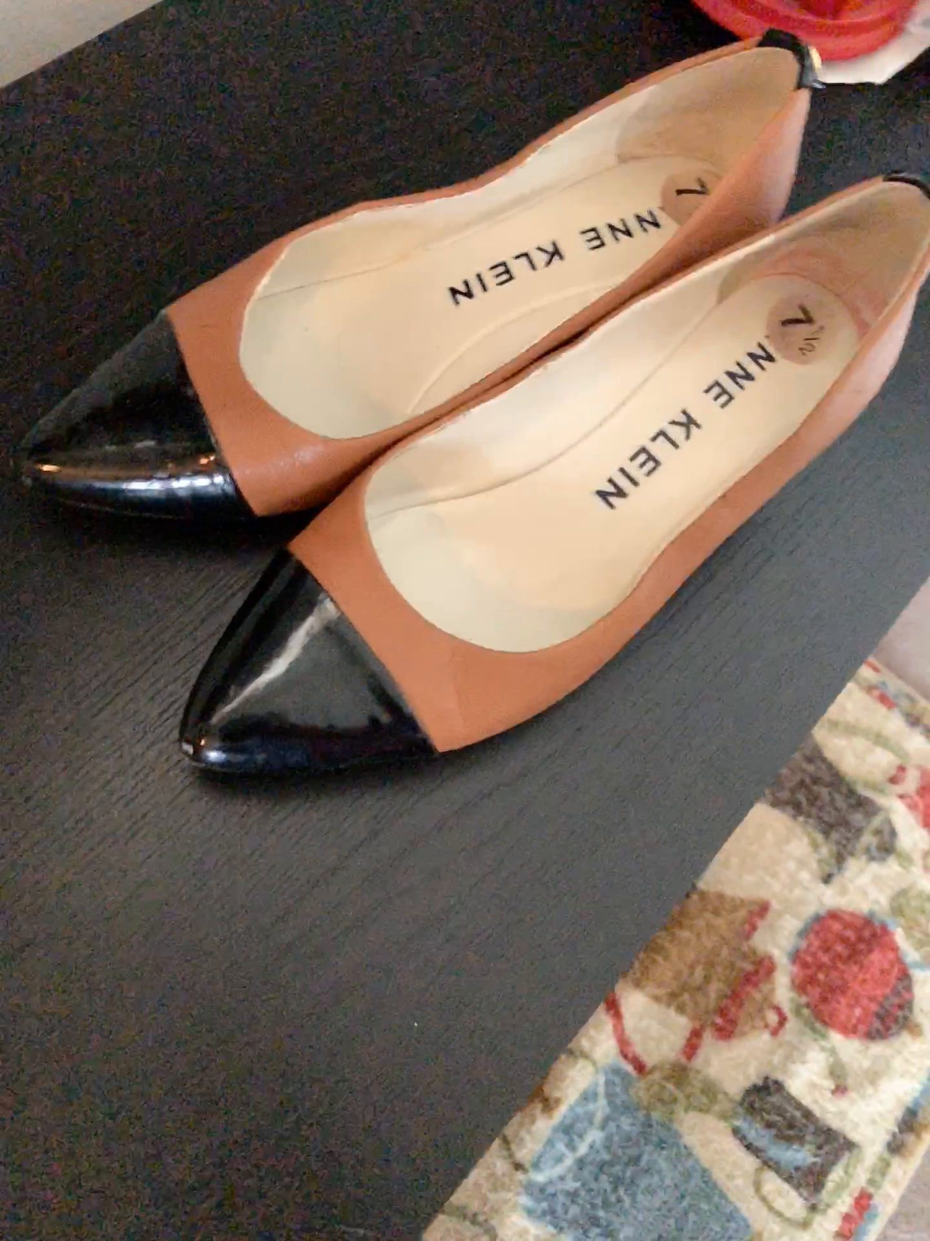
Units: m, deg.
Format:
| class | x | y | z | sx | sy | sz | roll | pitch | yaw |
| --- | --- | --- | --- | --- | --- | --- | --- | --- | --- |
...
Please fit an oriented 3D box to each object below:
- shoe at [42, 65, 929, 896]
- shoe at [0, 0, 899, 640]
| class | x | y | z | sx | sy | sz | roll | pitch | yaw |
| --- | --- | --- | --- | --- | --- | --- | --- | --- | --- |
| shoe | 0.025 | -0.036 | 0.288 | 0.260 | 0.080 | 0.090 | -35 | 77 | -4 |
| shoe | -0.014 | -0.097 | 0.300 | 0.260 | 0.080 | 0.080 | -28 | 77 | -4 |
